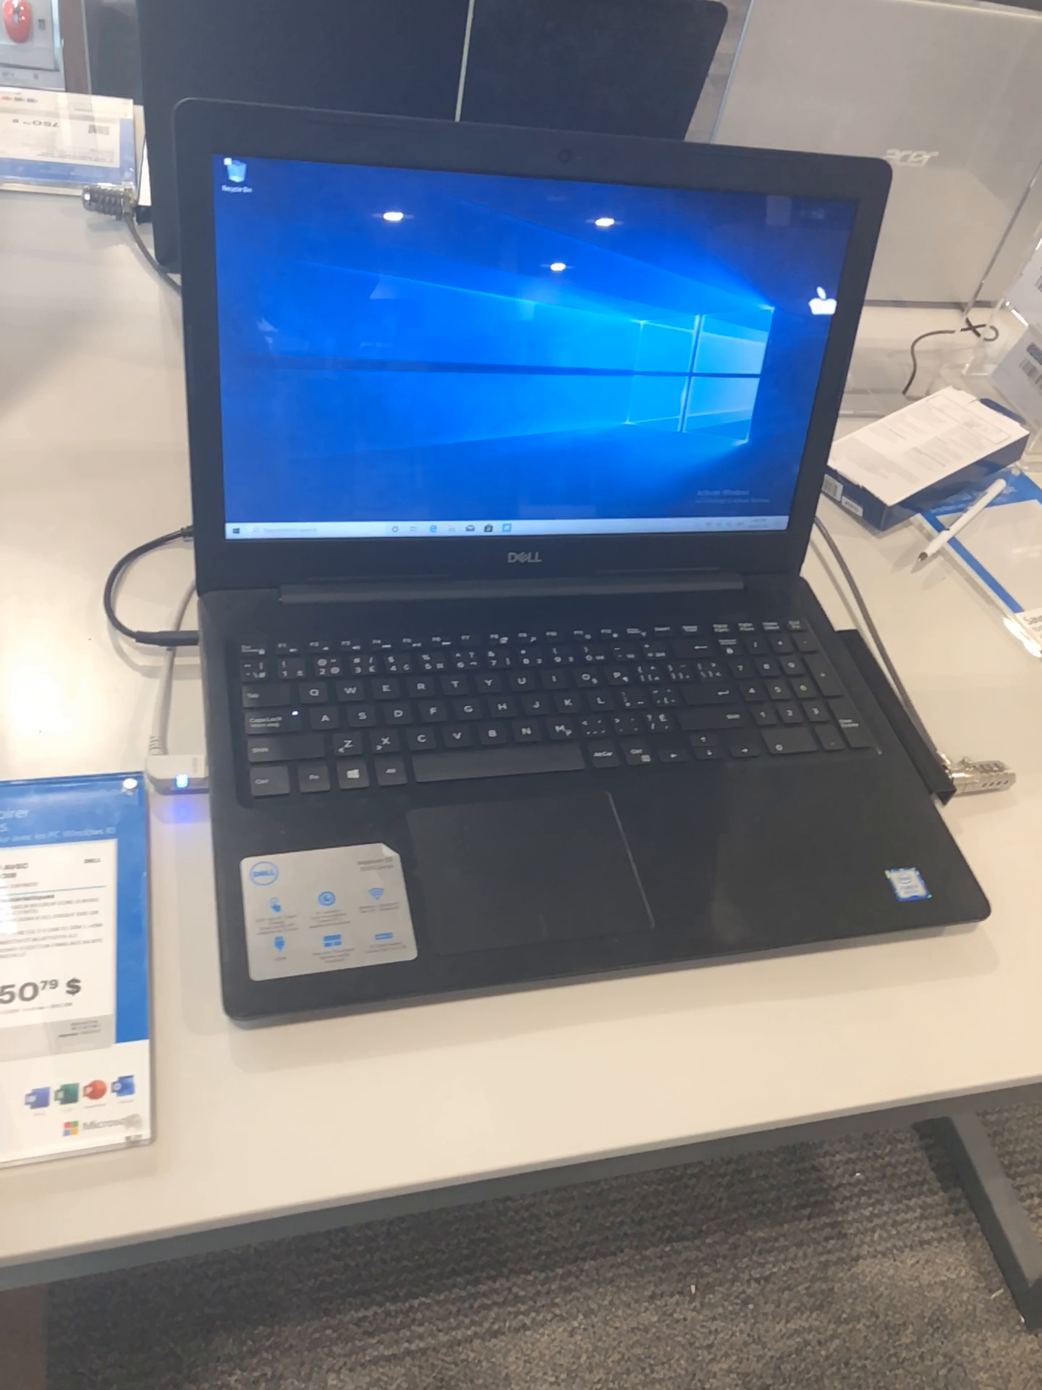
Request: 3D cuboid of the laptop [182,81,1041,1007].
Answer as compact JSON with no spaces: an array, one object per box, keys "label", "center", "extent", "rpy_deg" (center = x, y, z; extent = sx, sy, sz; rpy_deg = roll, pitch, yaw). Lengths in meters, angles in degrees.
[{"label":"laptop","center":[0.036,-0.086,0.549],"extent":[0.364,0.224,0.337],"rpy_deg":[-3,50,-16]}]
